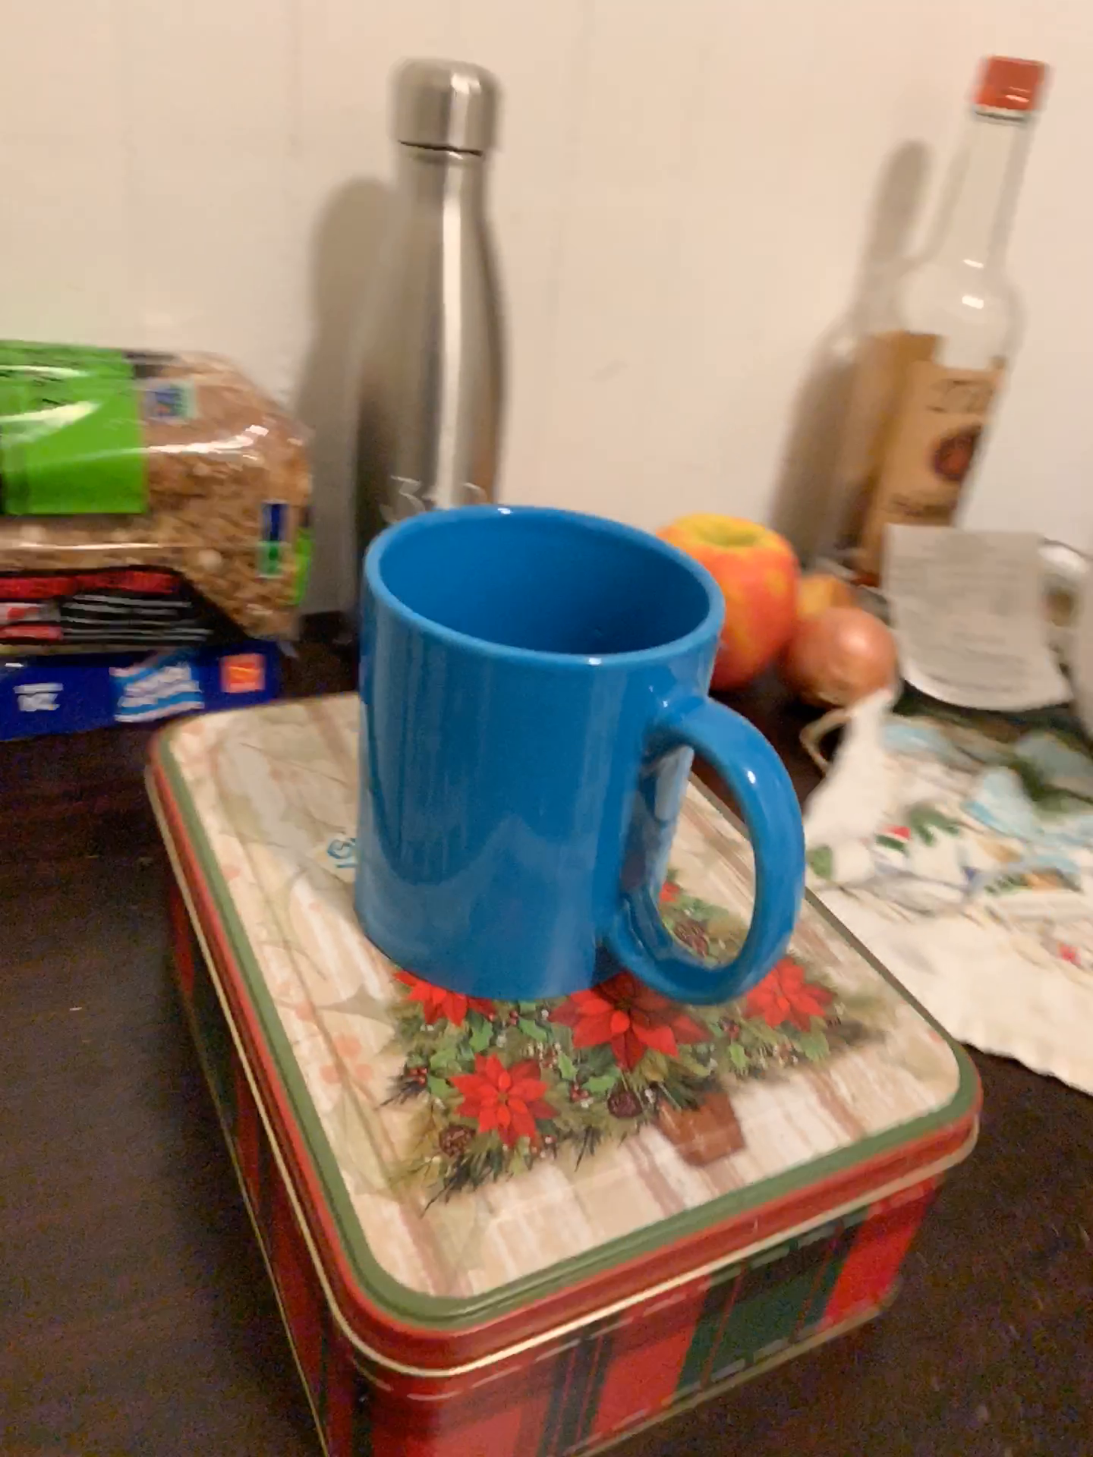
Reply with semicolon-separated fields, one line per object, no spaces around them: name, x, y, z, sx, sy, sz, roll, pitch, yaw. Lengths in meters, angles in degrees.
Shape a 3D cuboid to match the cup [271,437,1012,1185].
cup;0.013;0.007;0.264;0.130;0.099;0.090;29;37;30
